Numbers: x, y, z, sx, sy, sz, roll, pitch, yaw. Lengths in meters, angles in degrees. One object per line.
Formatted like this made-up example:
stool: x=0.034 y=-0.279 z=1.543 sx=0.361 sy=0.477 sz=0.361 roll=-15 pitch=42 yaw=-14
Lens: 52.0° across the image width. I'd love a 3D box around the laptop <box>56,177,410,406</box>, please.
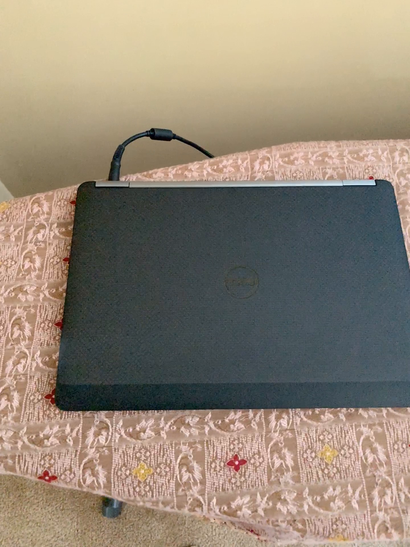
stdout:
laptop: x=0.027 y=0.012 z=0.368 sx=0.293 sy=0.017 sz=0.197 roll=-1 pitch=71 yaw=4
